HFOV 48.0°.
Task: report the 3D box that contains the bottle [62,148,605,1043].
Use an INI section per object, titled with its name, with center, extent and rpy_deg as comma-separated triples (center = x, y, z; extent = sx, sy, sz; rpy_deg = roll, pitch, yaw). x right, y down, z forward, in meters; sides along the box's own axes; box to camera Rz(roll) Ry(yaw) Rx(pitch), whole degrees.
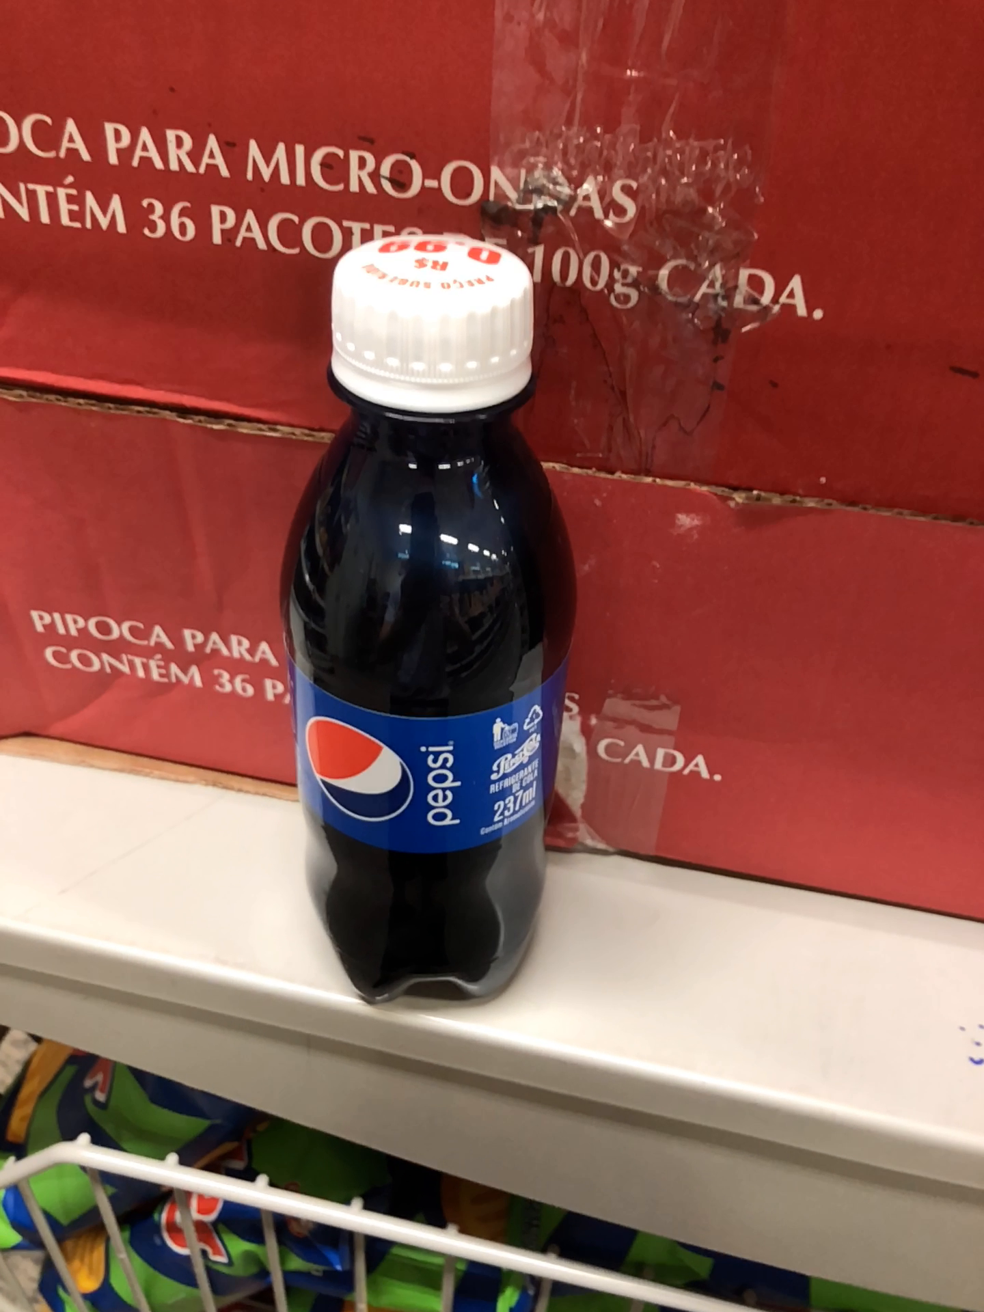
[bottle]
center = -0.017, -0.003, 0.201
extent = 0.060, 0.149, 0.060
rpy_deg = 0, 39, 0
